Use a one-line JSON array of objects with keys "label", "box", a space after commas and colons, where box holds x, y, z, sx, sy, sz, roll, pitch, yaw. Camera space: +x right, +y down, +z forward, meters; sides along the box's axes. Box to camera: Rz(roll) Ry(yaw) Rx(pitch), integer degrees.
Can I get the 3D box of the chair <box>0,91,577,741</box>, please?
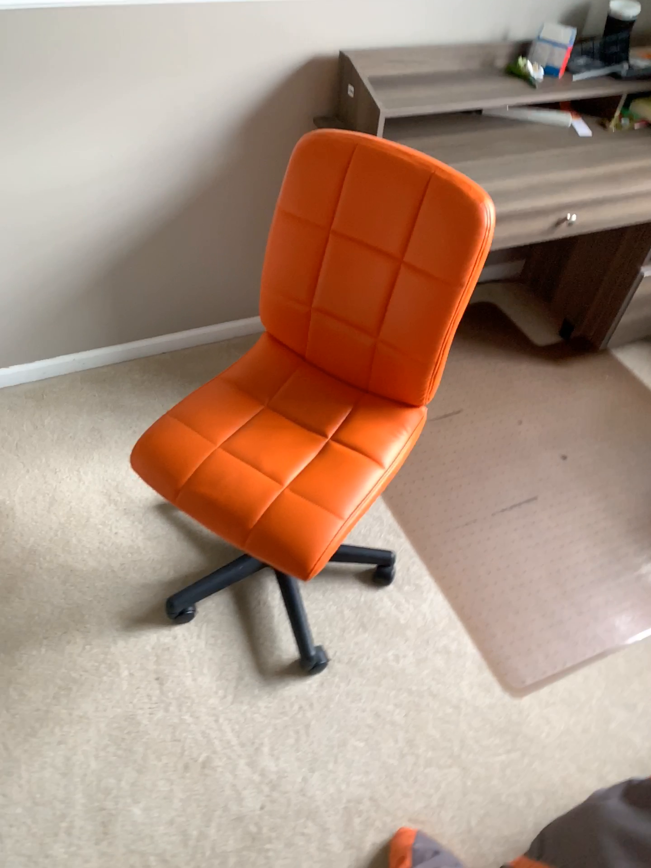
[{"label": "chair", "box": [-0.082, -0.012, 1.255, 0.593, 0.904, 0.602, 33, 51, 21]}]
